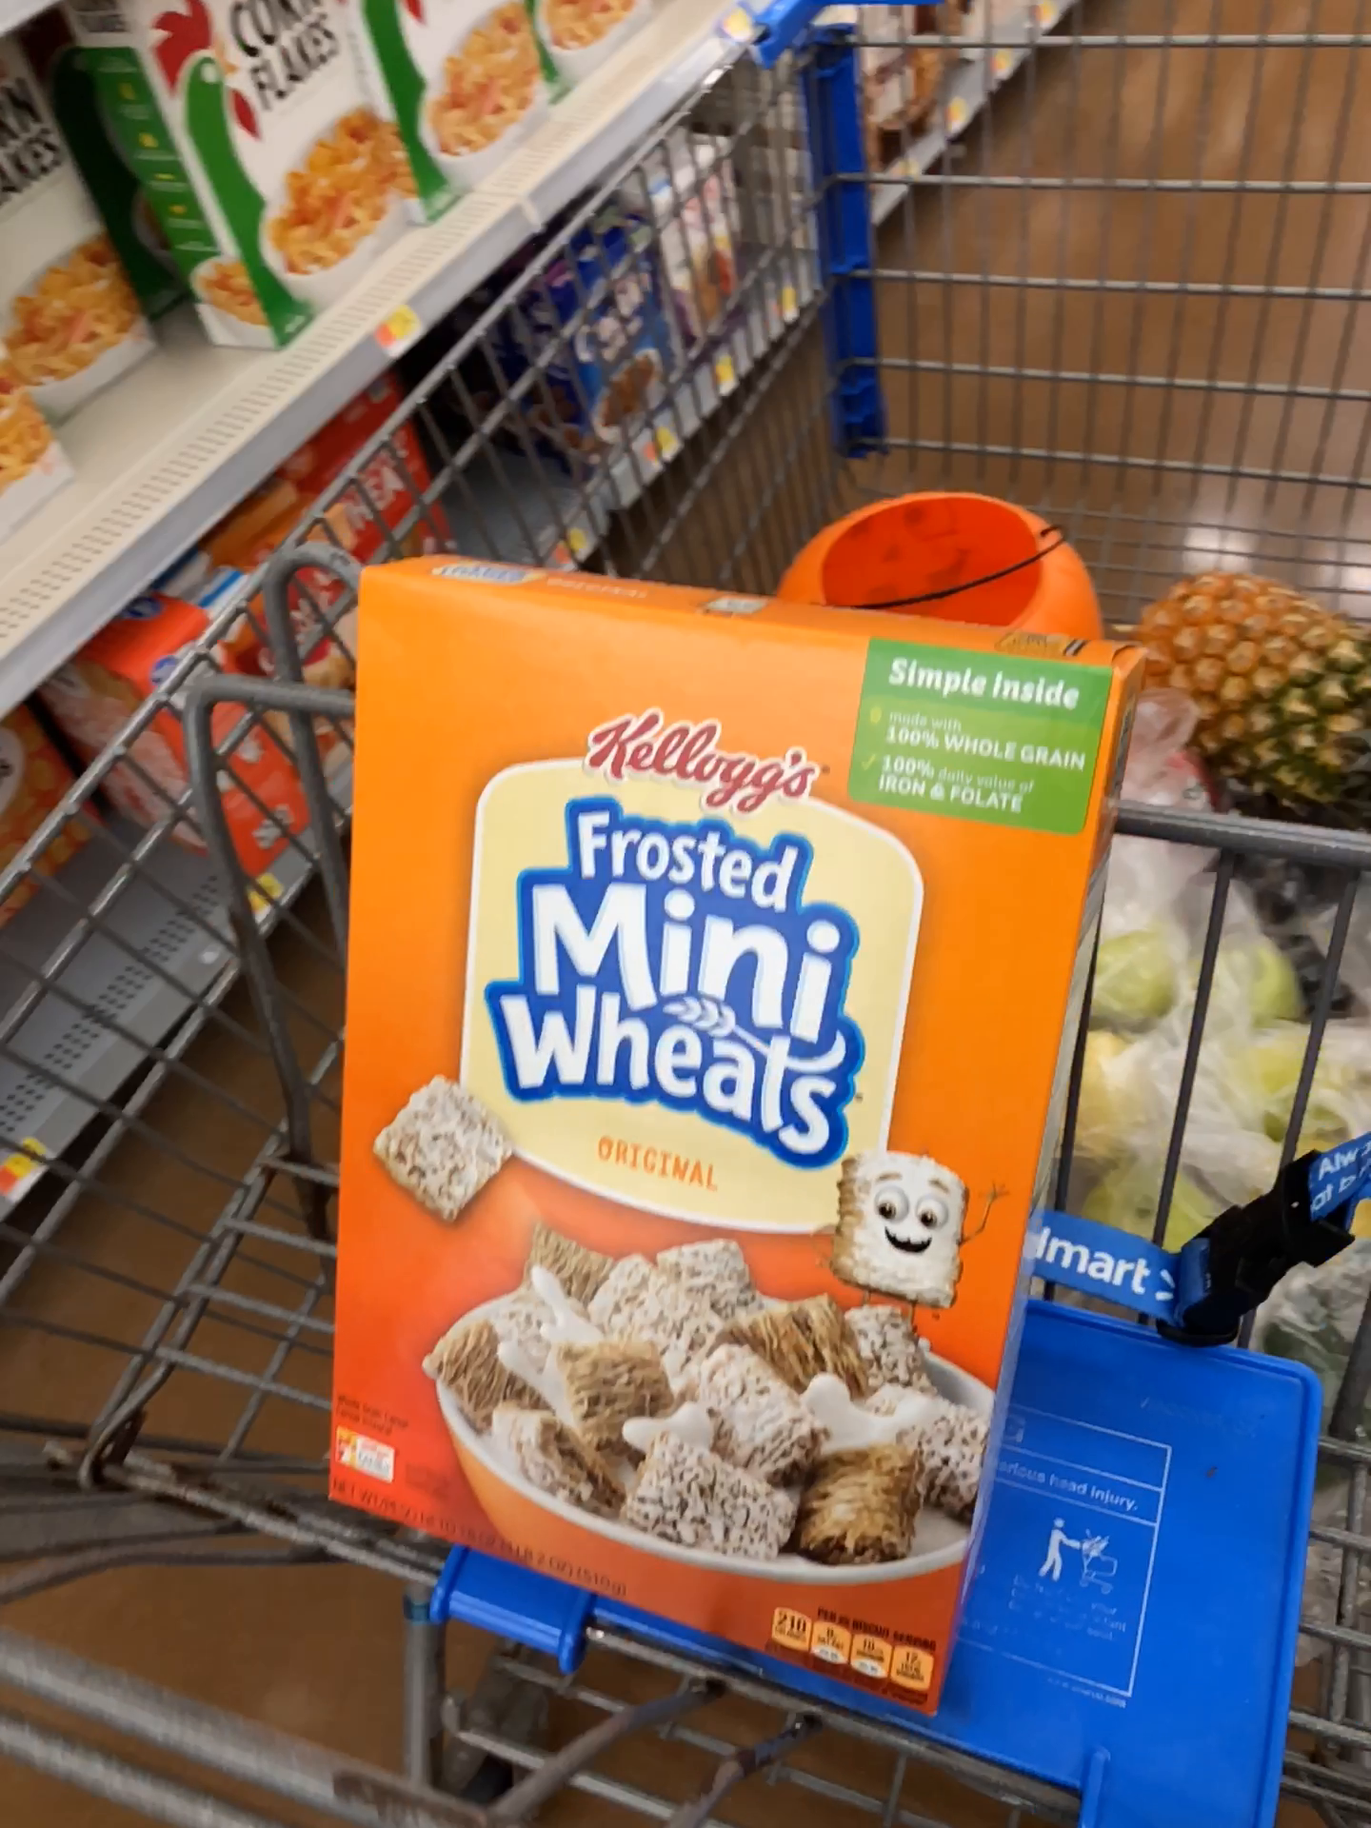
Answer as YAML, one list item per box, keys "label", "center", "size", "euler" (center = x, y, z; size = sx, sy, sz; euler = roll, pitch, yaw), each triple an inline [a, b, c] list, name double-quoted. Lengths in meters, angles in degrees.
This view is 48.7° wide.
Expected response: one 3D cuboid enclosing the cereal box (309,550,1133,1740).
- label: "cereal box"
  center: [0.000, 0.056, 0.424]
  size: [0.190, 0.290, 0.070]
  euler: [11, 16, 17]
